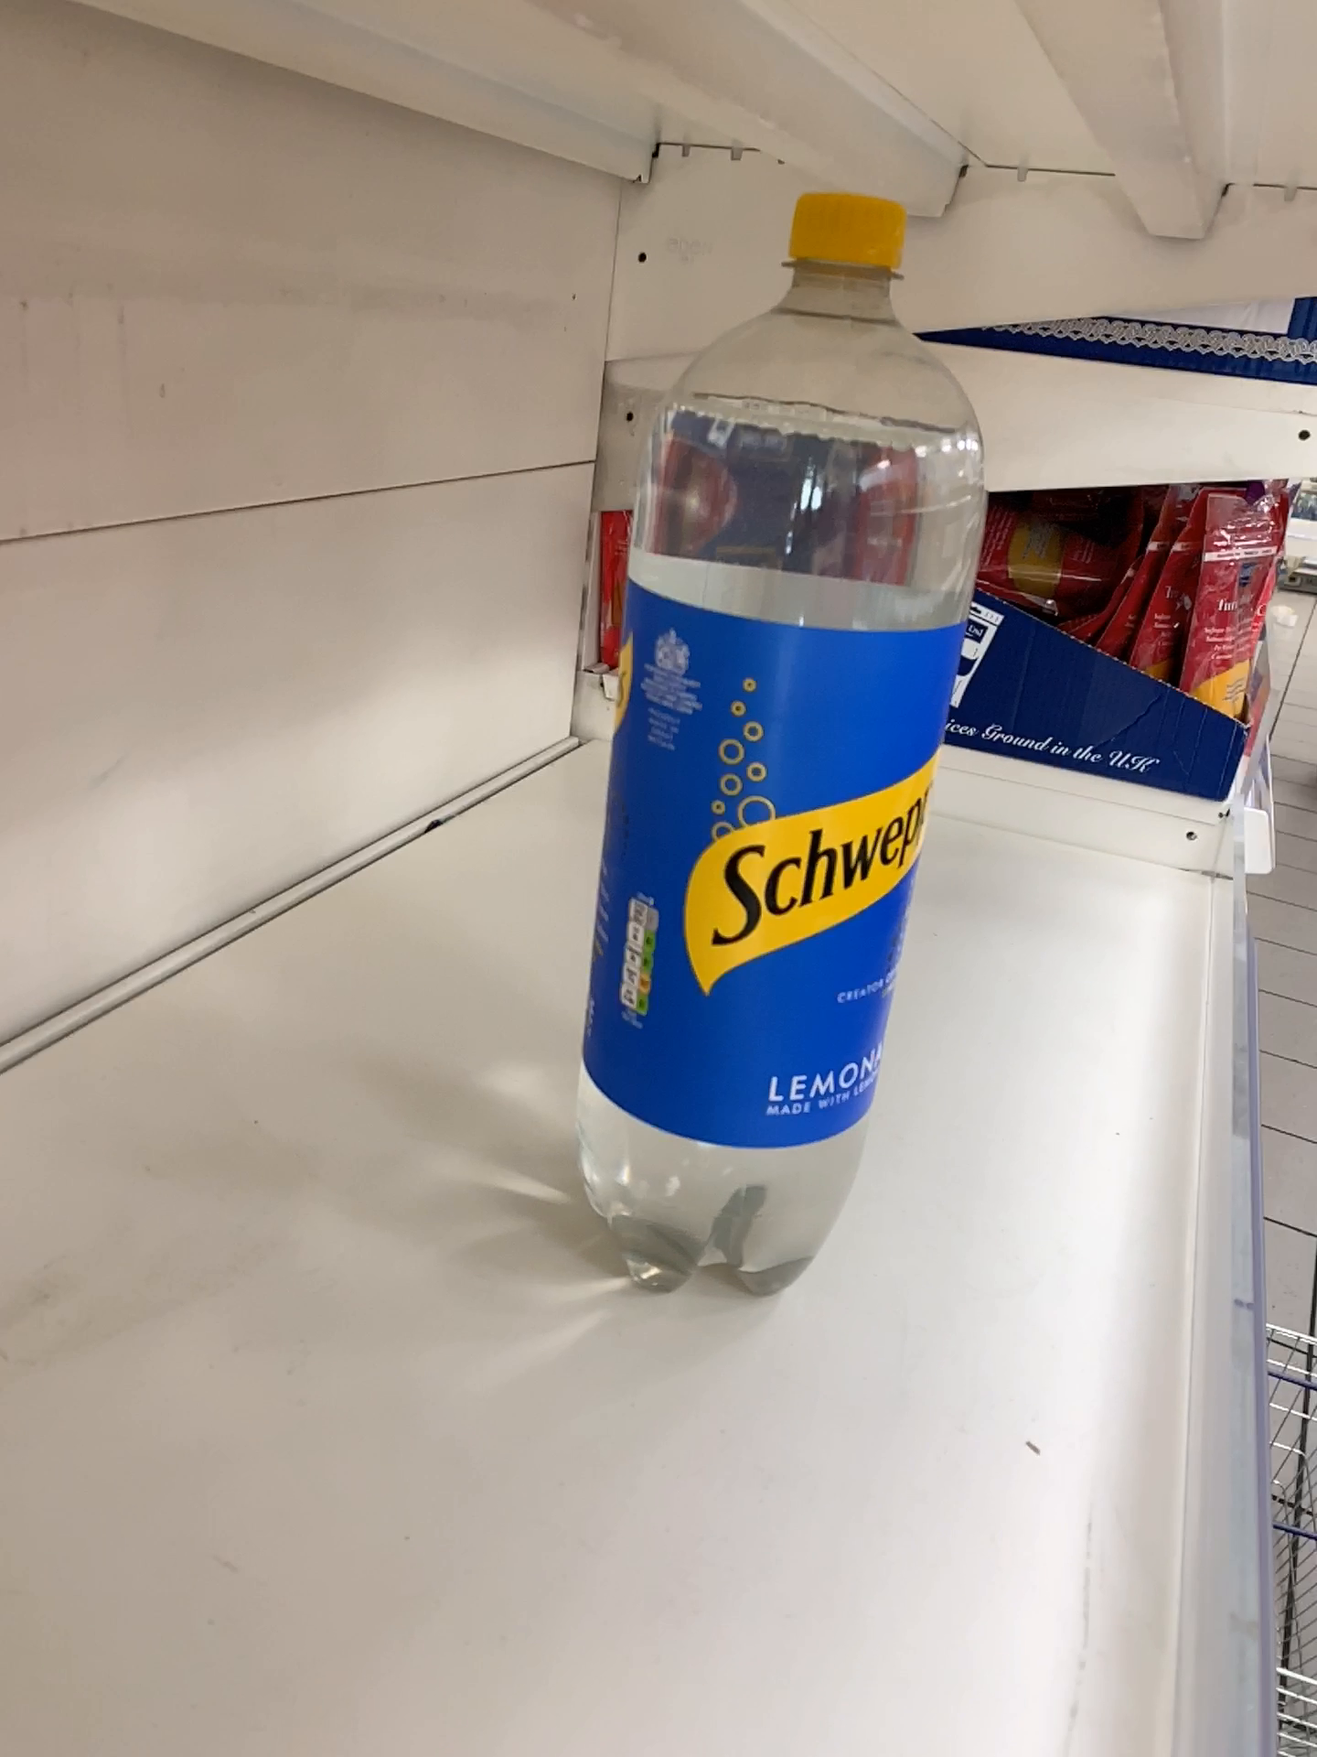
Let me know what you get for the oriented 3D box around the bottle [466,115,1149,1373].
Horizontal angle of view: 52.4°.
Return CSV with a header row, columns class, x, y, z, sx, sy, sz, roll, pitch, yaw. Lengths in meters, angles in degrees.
class,x,y,z,sx,sy,sz,roll,pitch,yaw
bottle,0.028,-0.034,0.405,0.110,0.327,0.111,6,22,-3
